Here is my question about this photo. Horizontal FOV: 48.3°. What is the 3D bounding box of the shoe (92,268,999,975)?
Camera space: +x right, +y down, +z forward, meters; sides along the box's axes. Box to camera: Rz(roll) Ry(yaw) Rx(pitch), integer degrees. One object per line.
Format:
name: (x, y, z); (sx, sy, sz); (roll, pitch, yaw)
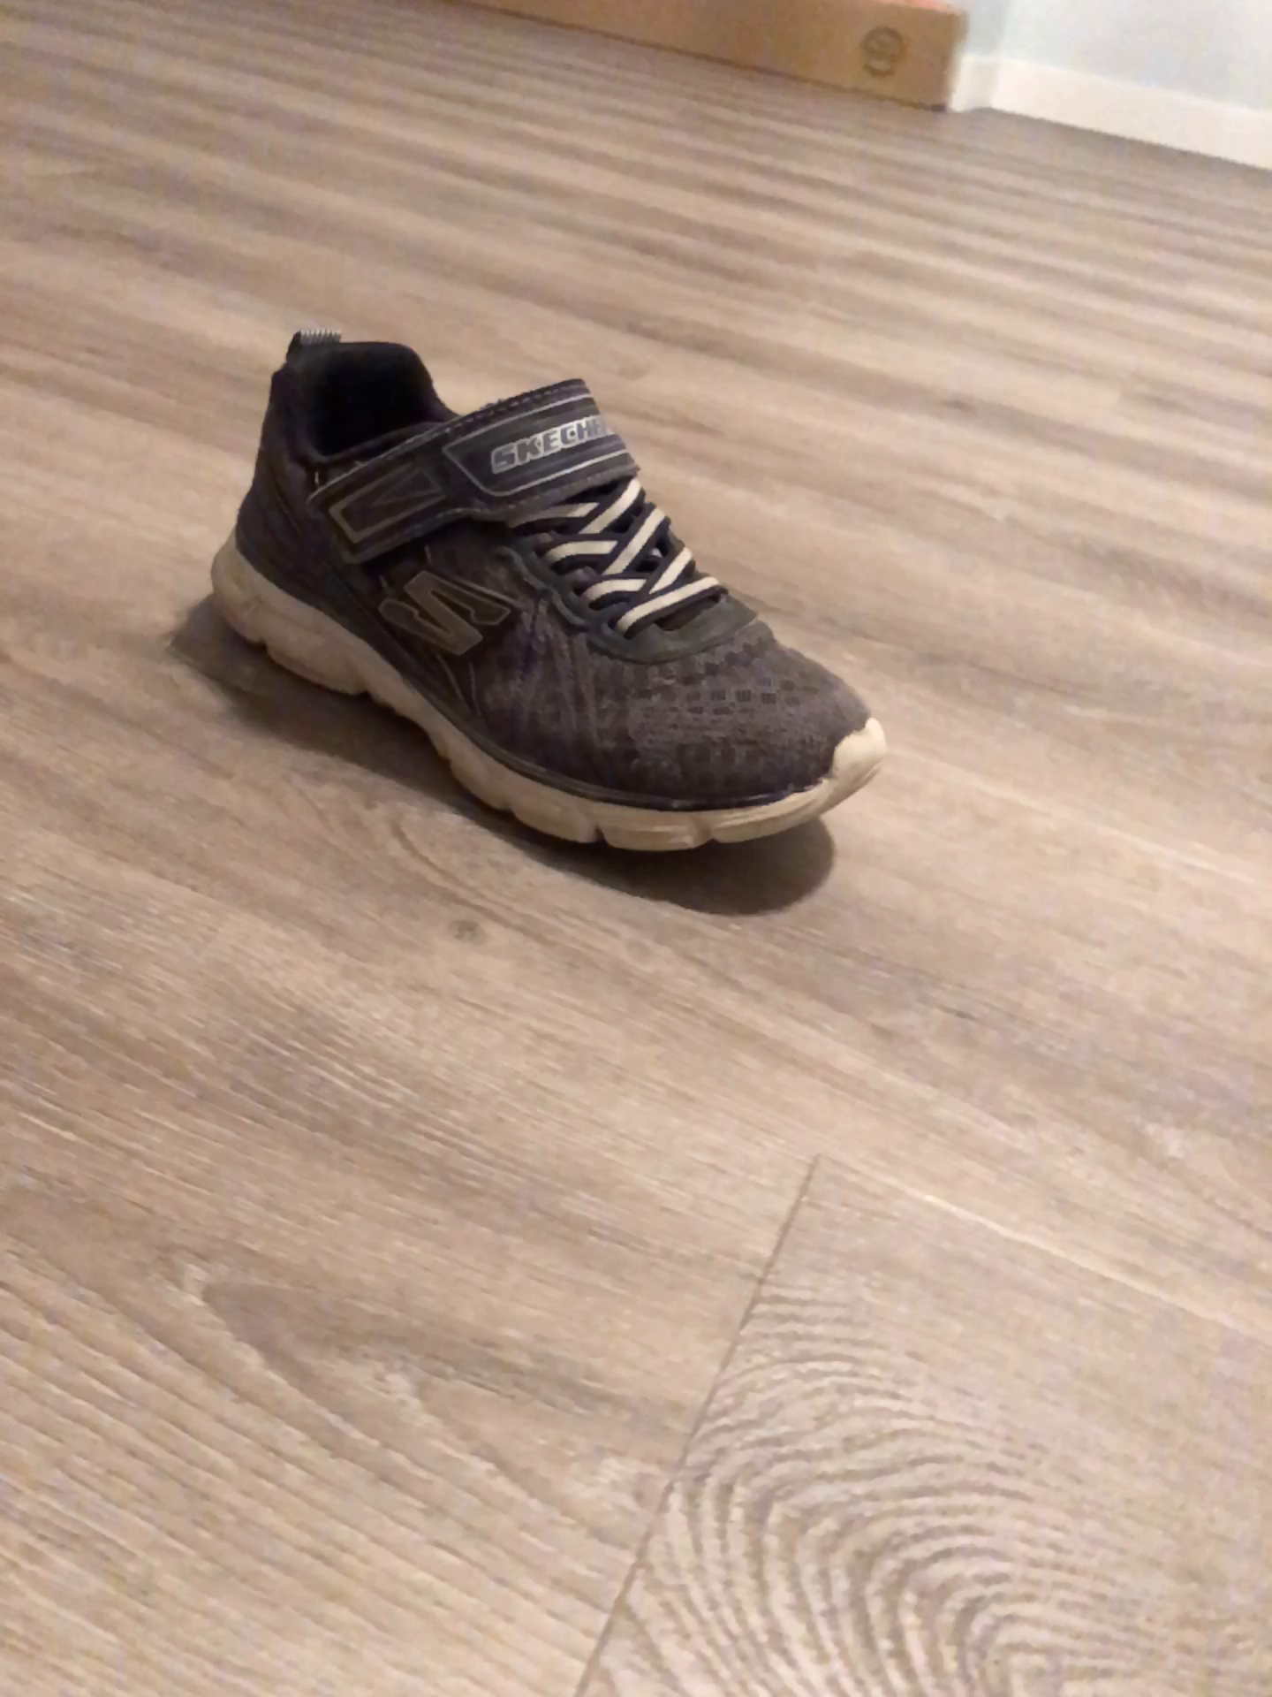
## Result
shoe: (-0.036, -0.079, 0.400); (0.230, 0.099, 0.100); (29, 36, 26)
